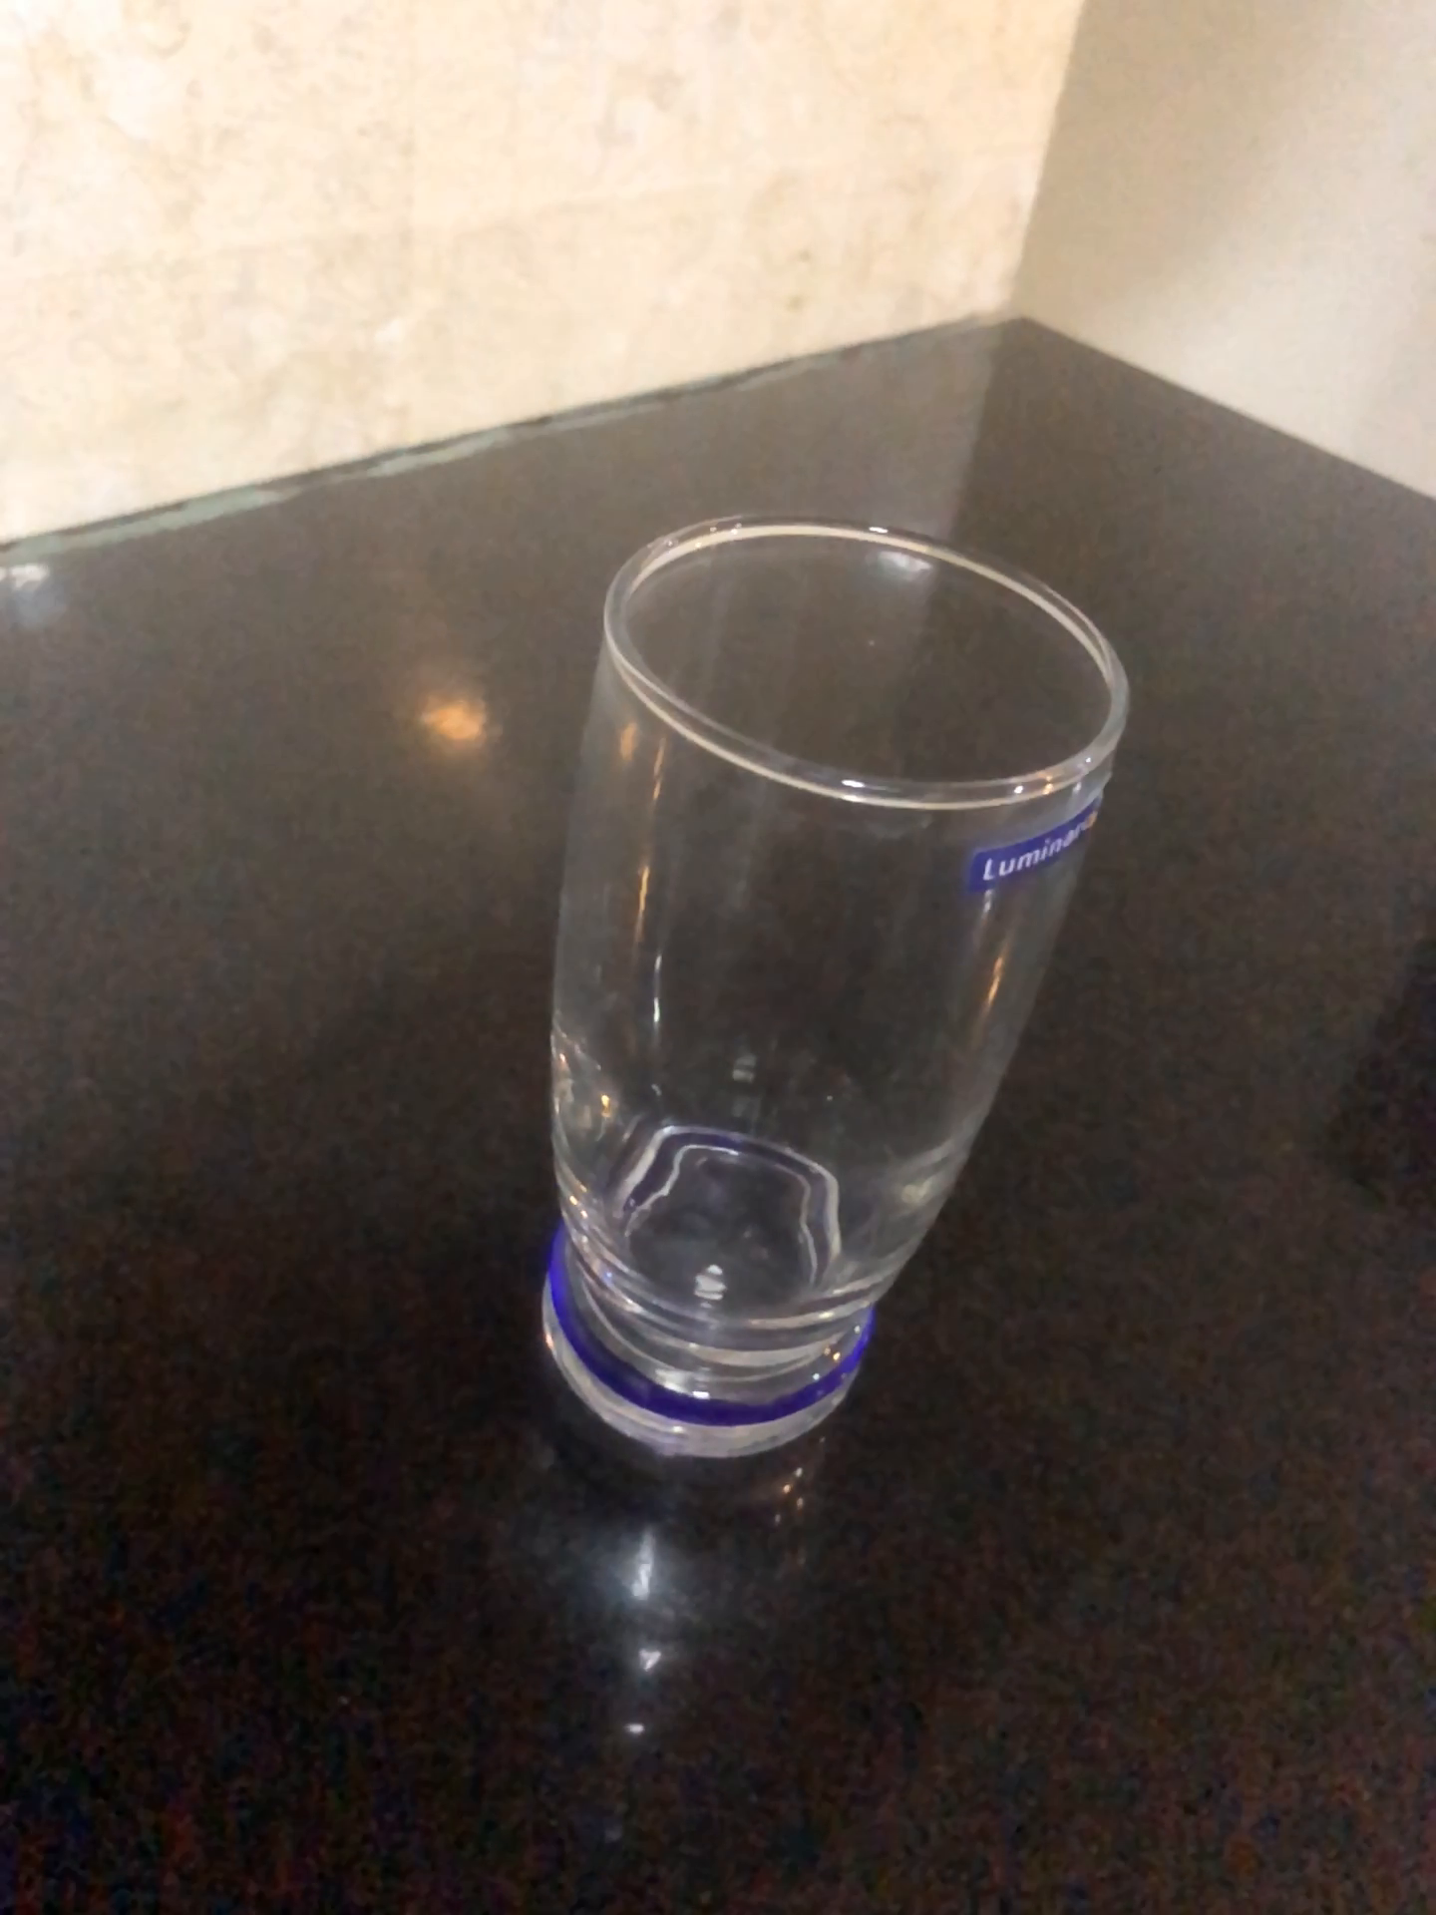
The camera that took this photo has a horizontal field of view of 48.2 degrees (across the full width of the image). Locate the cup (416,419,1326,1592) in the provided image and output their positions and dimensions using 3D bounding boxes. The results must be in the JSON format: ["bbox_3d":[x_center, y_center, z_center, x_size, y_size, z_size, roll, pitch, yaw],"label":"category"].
[{"bbox_3d":[0.015,0.006,0.236,0.080,0.129,0.080,6,39,-5],"label":"cup"}]
